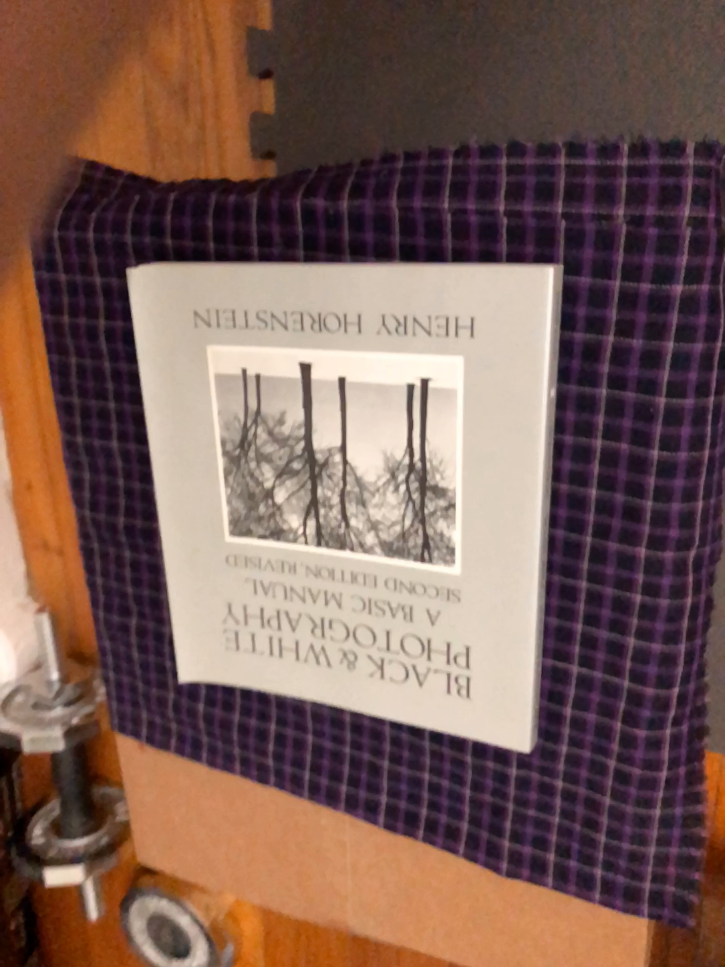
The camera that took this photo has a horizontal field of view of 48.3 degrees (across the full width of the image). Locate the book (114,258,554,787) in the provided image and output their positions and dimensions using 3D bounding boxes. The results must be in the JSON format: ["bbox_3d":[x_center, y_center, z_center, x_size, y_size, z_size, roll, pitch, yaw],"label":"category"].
[{"bbox_3d":[-0.017,0.016,0.412,0.210,0.030,0.250,6,110,23],"label":"book"}]
